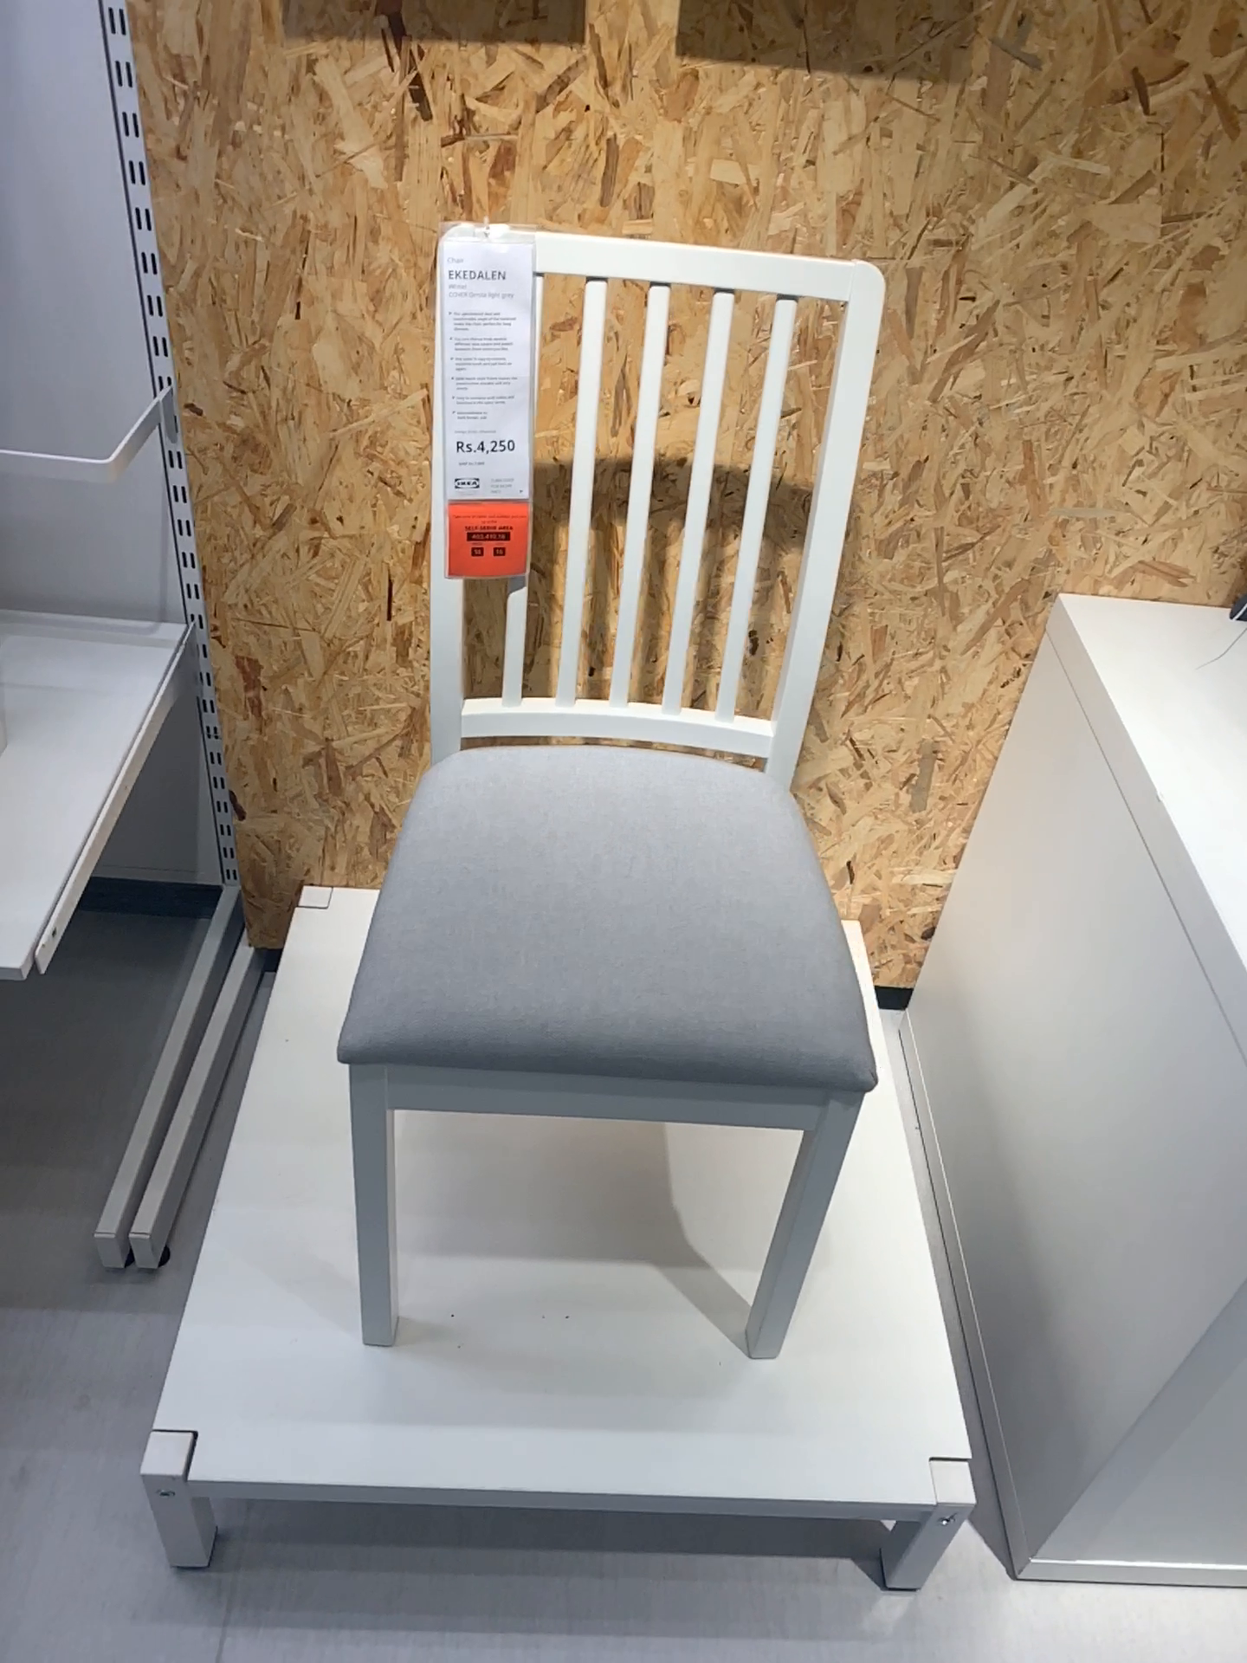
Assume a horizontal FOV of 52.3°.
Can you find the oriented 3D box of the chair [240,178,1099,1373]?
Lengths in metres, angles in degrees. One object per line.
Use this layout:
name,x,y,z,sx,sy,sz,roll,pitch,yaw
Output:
chair,-0.018,0.013,1.156,0.450,0.956,0.492,4,40,-4
